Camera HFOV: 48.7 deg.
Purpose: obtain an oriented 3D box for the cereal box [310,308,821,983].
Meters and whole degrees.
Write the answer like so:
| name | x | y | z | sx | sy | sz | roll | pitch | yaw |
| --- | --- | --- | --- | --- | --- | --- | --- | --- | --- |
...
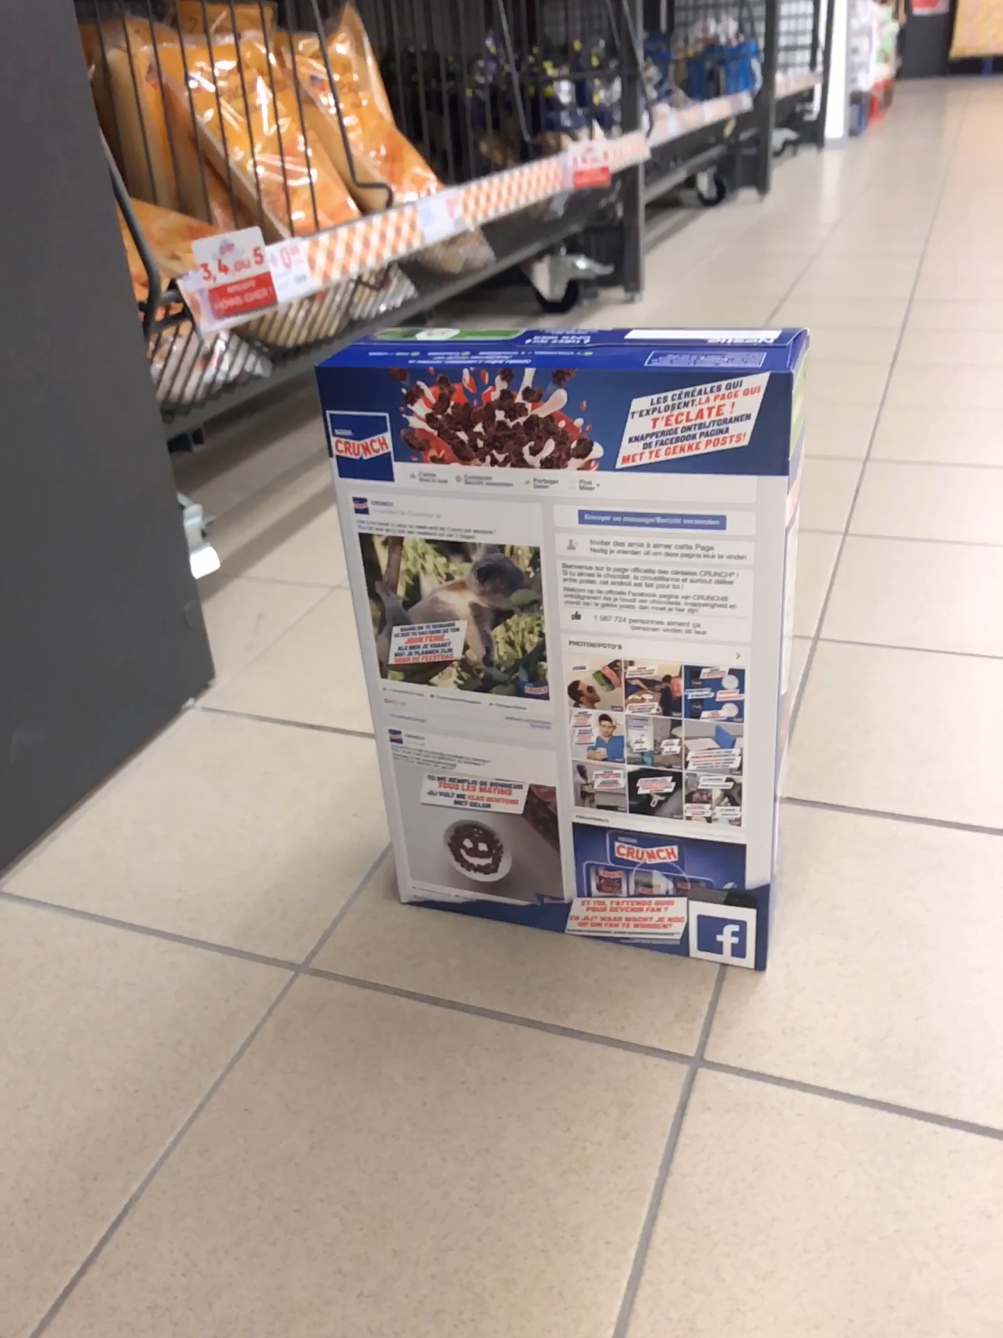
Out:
| name | x | y | z | sx | sy | sz | roll | pitch | yaw |
| --- | --- | --- | --- | --- | --- | --- | --- | --- | --- |
| cereal box | 0.034 | -0.008 | 0.505 | 0.190 | 0.288 | 0.070 | 6 | 29 | 18 |
